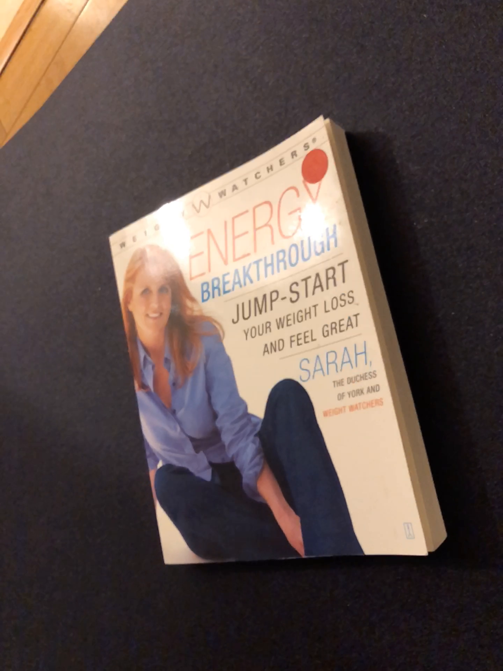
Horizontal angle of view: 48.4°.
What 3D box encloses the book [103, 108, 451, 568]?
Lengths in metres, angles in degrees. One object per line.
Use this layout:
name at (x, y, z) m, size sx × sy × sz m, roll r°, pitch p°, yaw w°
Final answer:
book at (-0.003, 0.014, 0.346) m, size 0.186 × 0.030 × 0.234 m, roll -18°, pitch 78°, yaw 33°
